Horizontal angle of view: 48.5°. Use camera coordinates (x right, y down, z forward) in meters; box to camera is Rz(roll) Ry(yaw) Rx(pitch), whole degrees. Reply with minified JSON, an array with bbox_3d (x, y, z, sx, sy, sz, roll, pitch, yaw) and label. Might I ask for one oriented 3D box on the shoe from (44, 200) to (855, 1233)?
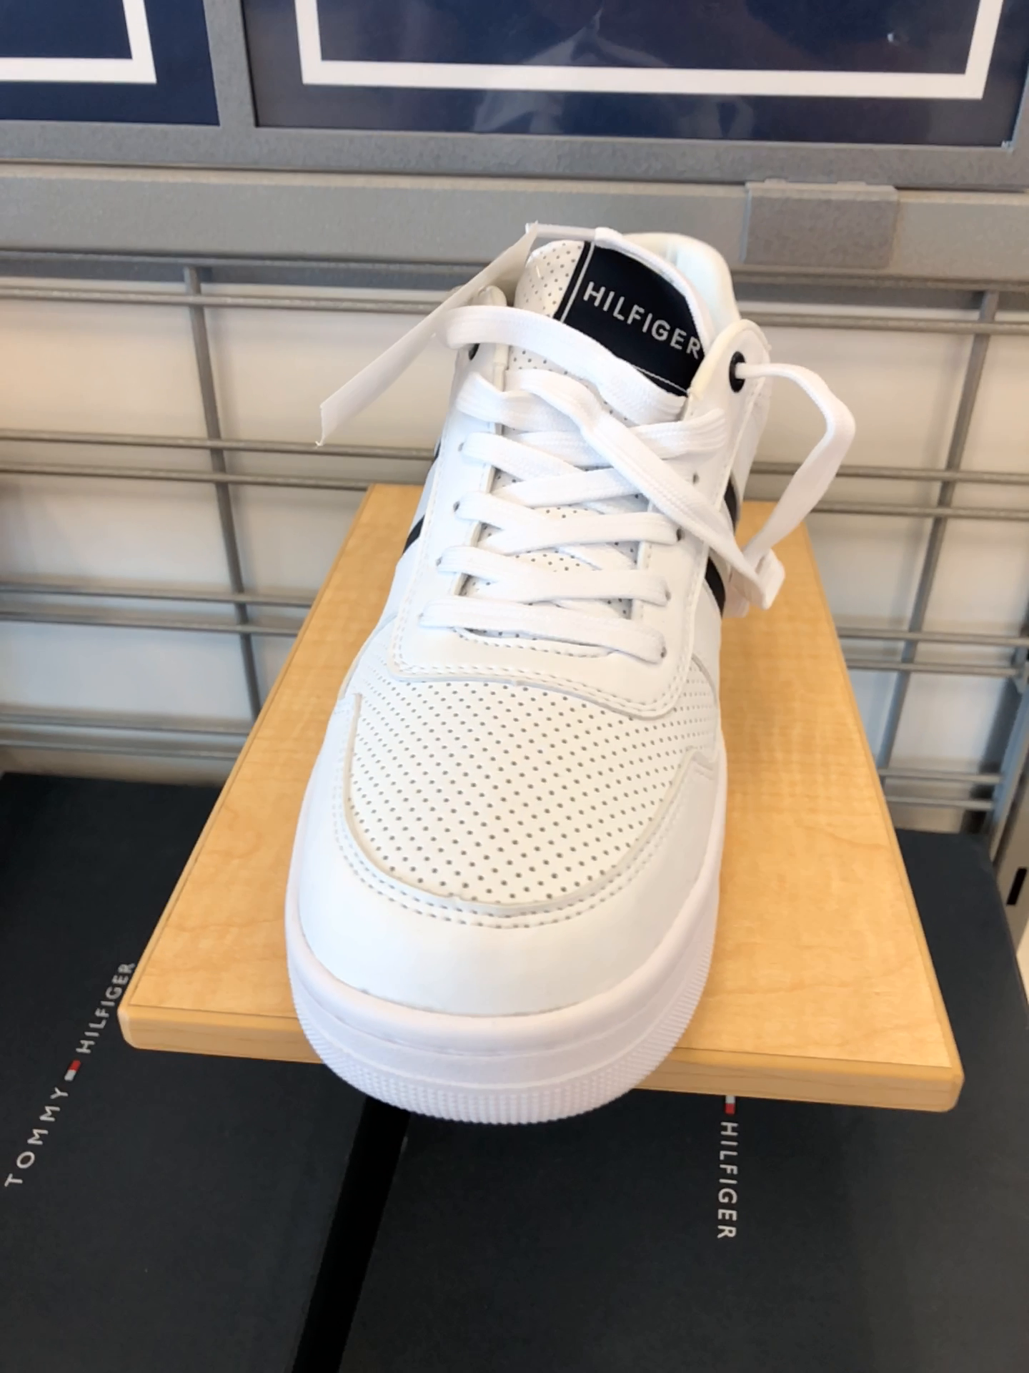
[{"bbox_3d":[0.015,-0.034,0.293,0.107,0.113,0.282,7,34,9],"label":"shoe"}]
